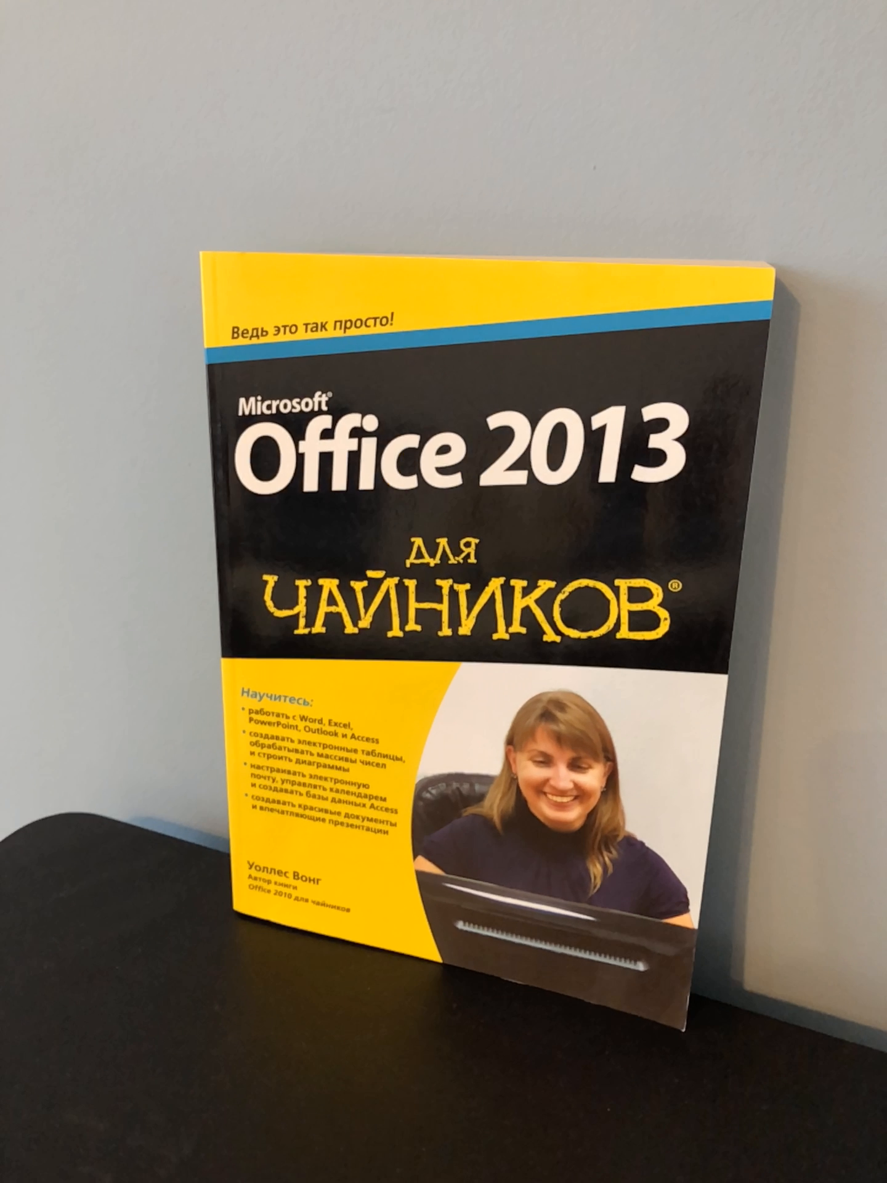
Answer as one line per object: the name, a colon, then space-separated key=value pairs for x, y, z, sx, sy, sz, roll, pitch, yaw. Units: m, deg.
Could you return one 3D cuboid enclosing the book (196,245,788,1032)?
book: x=0.009 y=0.014 z=0.313 sx=0.164 sy=0.233 sz=0.031 roll=7 pitch=20 yaw=18
